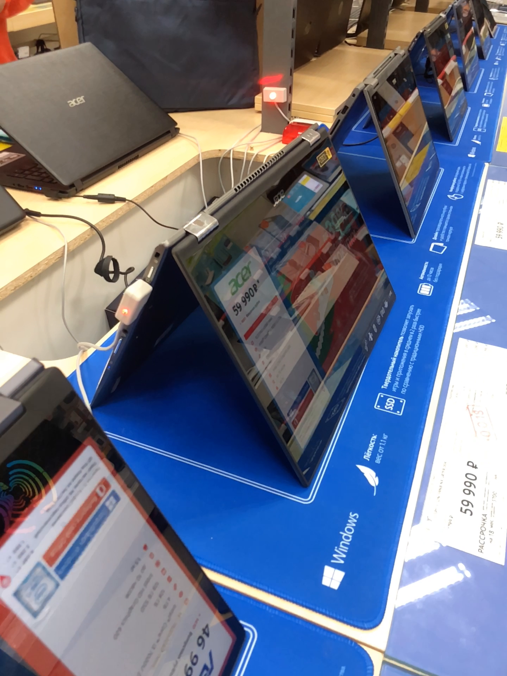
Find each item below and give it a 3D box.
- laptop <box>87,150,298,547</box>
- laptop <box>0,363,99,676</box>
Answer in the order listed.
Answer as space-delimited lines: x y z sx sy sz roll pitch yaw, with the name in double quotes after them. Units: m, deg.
-0.052 0.008 0.624 0.201 0.159 0.309 -24 18 29 "laptop"
-0.189 0.216 0.273 0.175 0.179 0.270 -15 22 30 "laptop"
